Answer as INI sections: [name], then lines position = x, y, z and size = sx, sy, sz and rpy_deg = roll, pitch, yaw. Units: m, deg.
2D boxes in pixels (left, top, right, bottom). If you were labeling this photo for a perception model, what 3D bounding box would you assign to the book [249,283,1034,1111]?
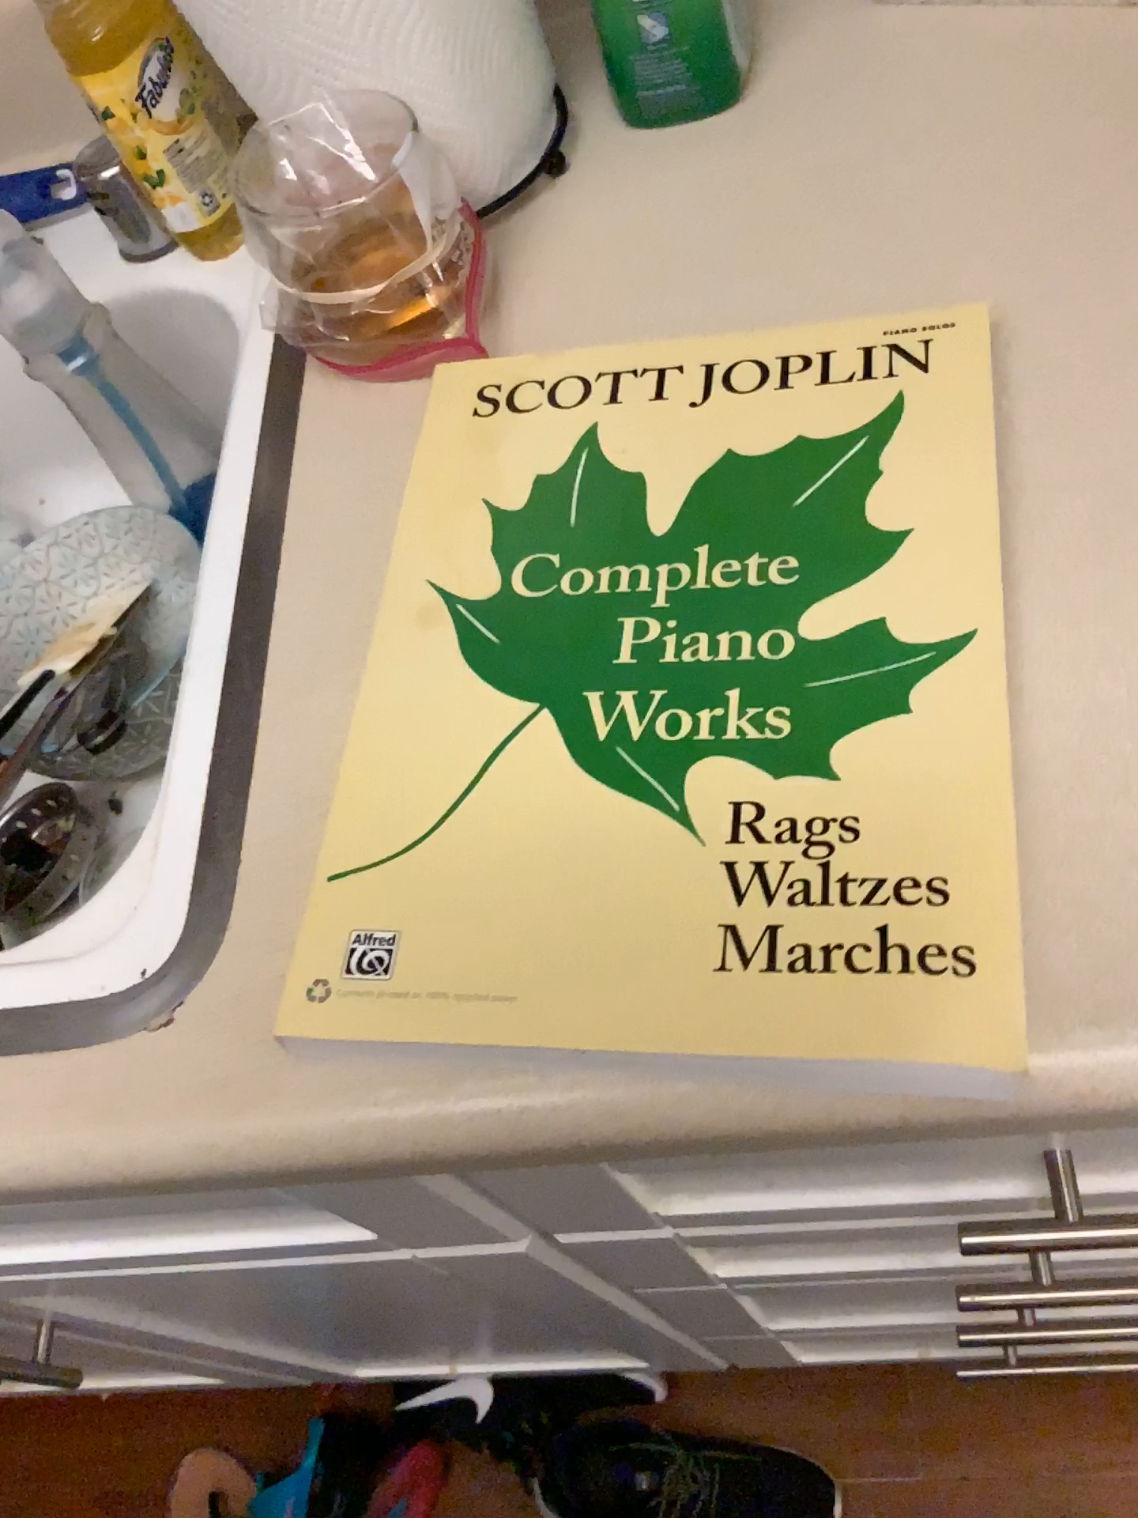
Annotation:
[book]
position = 0.036, -0.042, 0.470
size = 0.240, 0.030, 0.320
rpy_deg = 0, 60, 16
